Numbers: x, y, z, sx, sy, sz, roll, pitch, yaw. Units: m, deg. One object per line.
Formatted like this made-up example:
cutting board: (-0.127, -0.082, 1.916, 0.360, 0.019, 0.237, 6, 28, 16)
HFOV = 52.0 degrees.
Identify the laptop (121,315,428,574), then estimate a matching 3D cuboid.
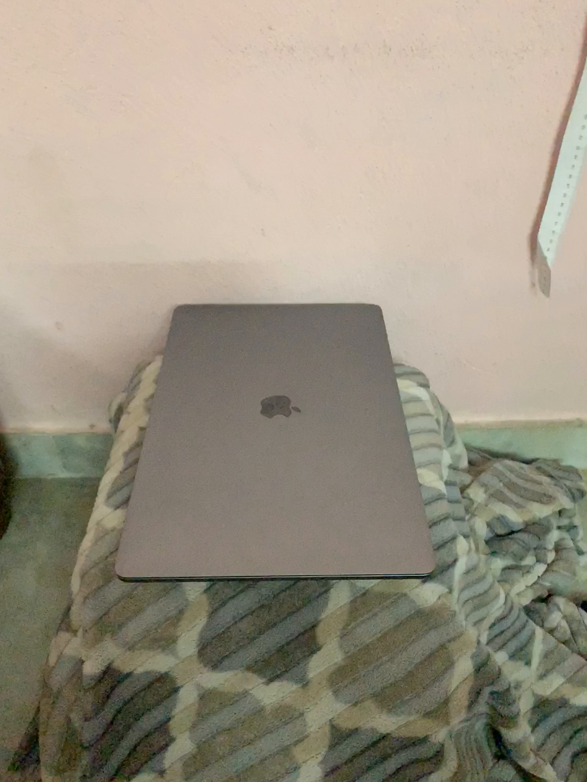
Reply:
laptop: (-0.015, 0.024, 0.568, 0.228, 0.002, 0.327, 0, 42, 1)
